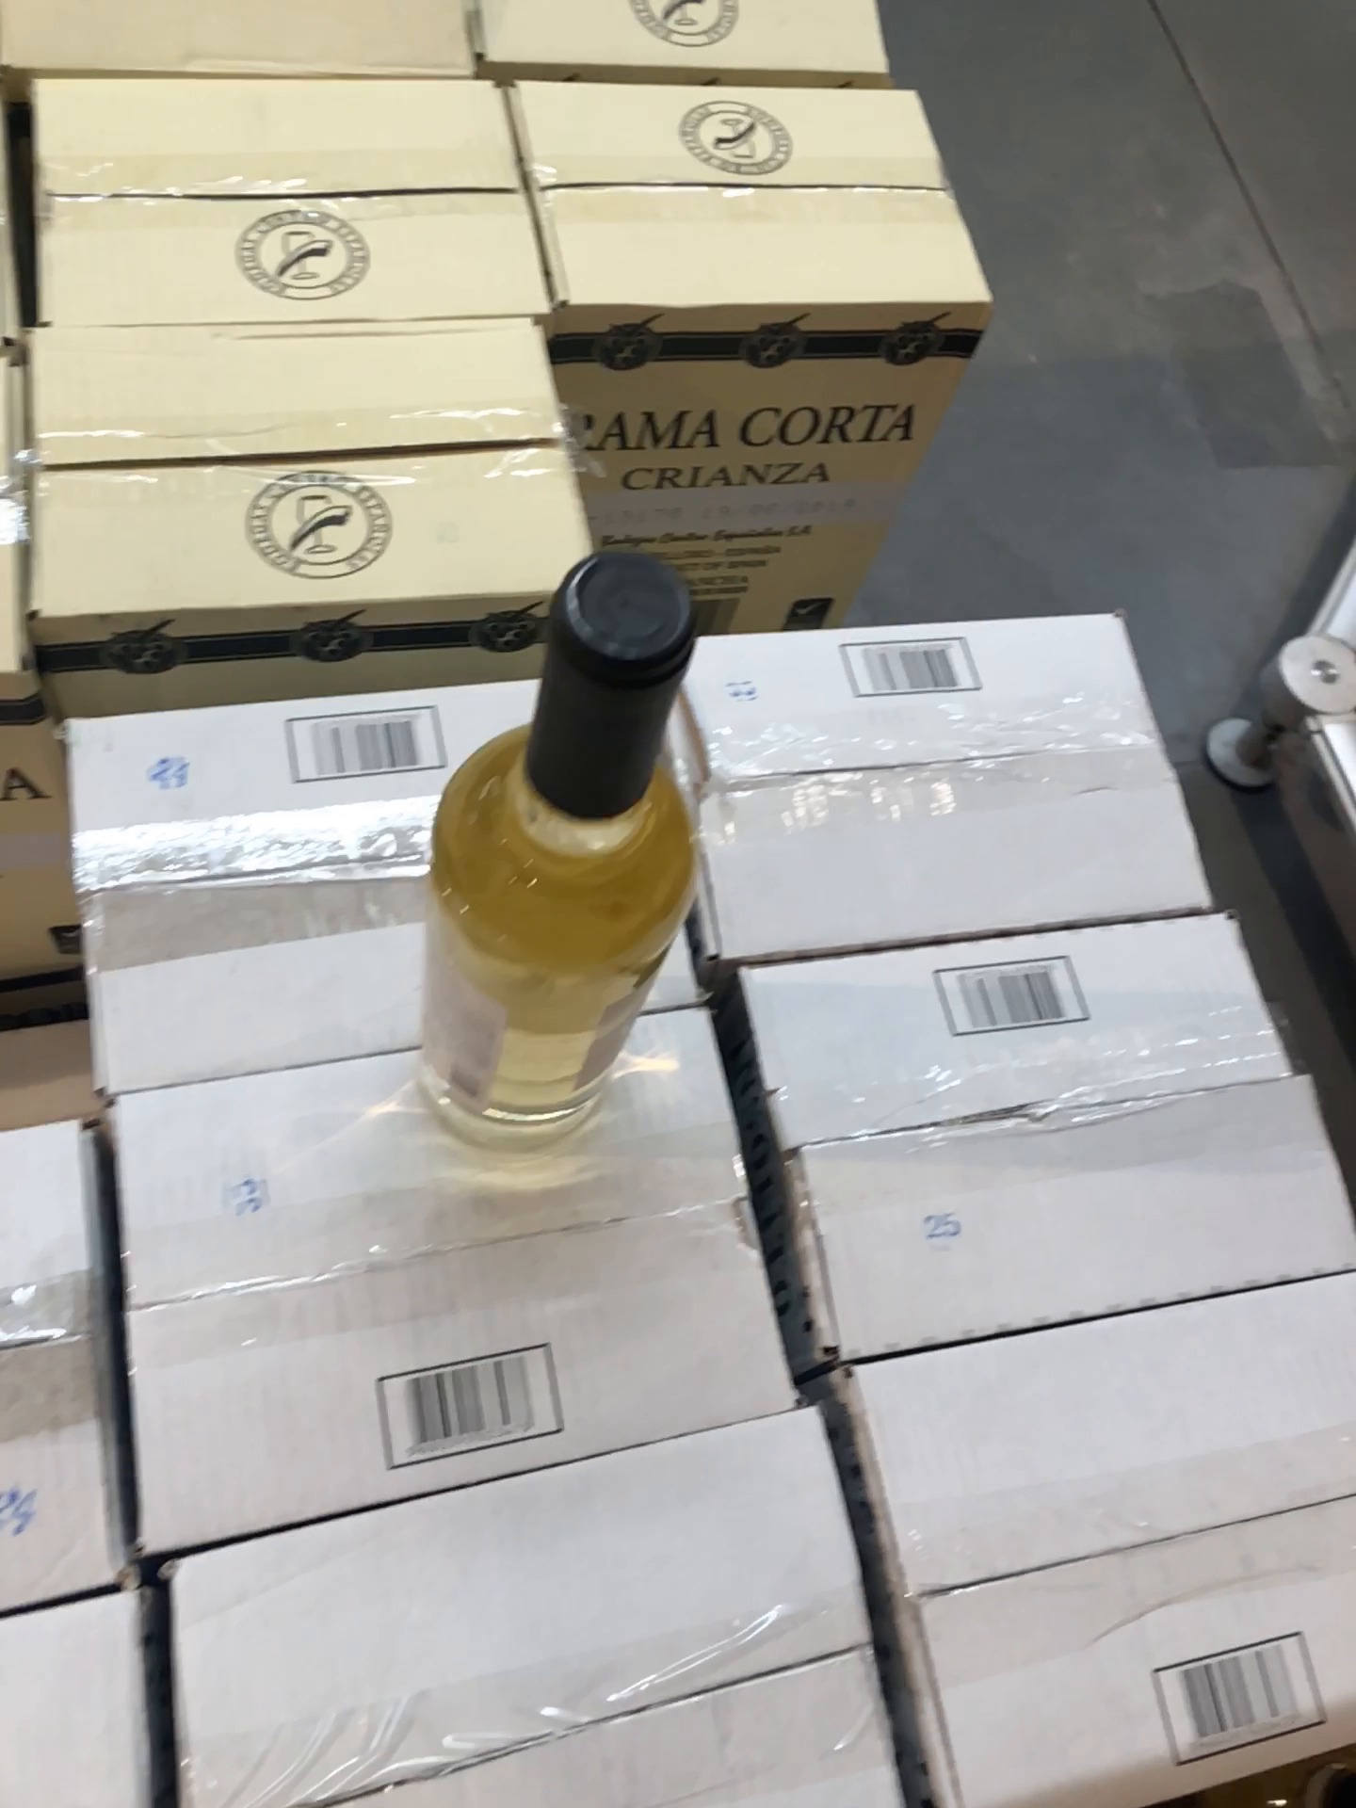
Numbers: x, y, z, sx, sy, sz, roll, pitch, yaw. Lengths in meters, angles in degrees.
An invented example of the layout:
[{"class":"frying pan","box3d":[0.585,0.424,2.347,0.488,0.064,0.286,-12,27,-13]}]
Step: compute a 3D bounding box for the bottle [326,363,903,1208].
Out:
[{"class":"bottle","box3d":[-0.040,-0.004,0.424,0.090,0.299,0.090,4,65,-9]}]
